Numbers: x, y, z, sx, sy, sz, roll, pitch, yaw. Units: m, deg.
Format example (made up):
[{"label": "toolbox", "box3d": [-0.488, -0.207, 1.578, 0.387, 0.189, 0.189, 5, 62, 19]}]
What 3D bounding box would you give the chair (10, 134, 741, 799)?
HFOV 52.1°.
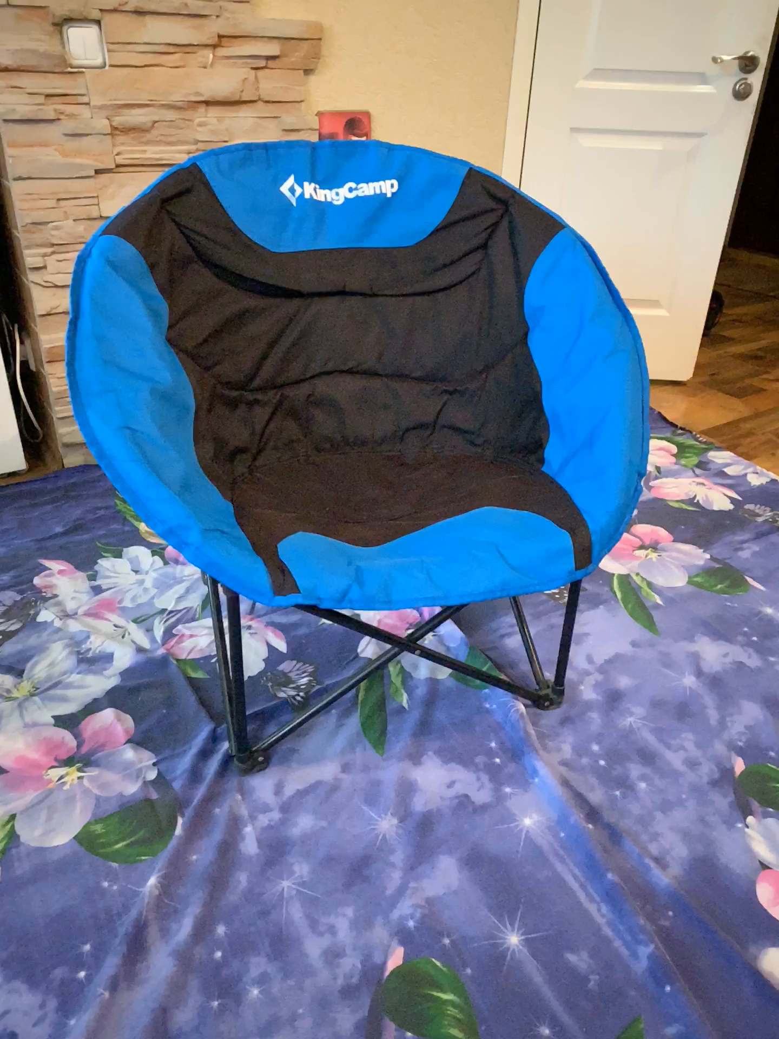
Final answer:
[{"label": "chair", "box3d": [-0.063, -0.145, 1.247, 0.760, 0.772, 0.613, -6, 31, -14]}]
